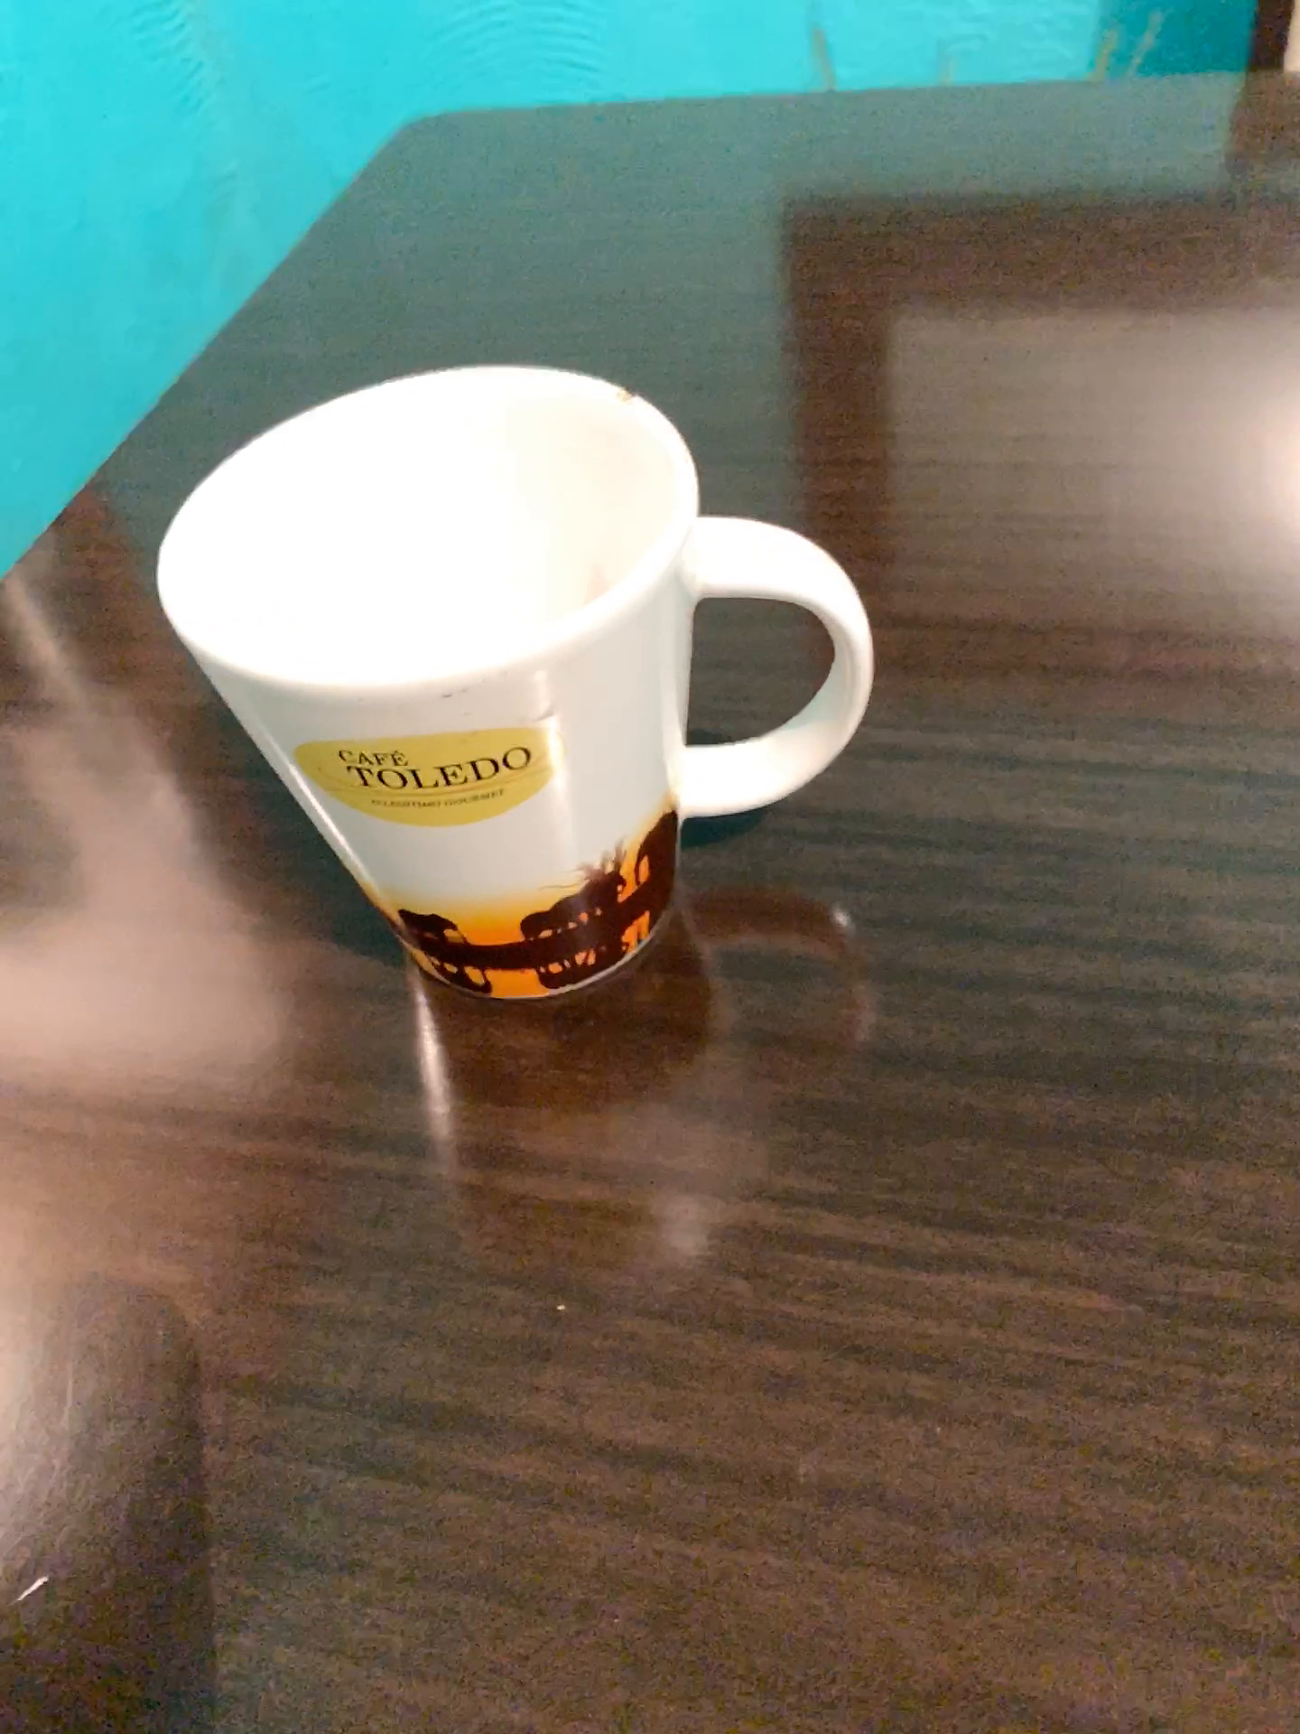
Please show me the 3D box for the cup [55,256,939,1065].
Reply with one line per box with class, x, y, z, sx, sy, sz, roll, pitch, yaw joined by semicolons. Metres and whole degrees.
cup;-0.018;-0.035;0.227;0.110;0.080;0.090;-8;47;2
